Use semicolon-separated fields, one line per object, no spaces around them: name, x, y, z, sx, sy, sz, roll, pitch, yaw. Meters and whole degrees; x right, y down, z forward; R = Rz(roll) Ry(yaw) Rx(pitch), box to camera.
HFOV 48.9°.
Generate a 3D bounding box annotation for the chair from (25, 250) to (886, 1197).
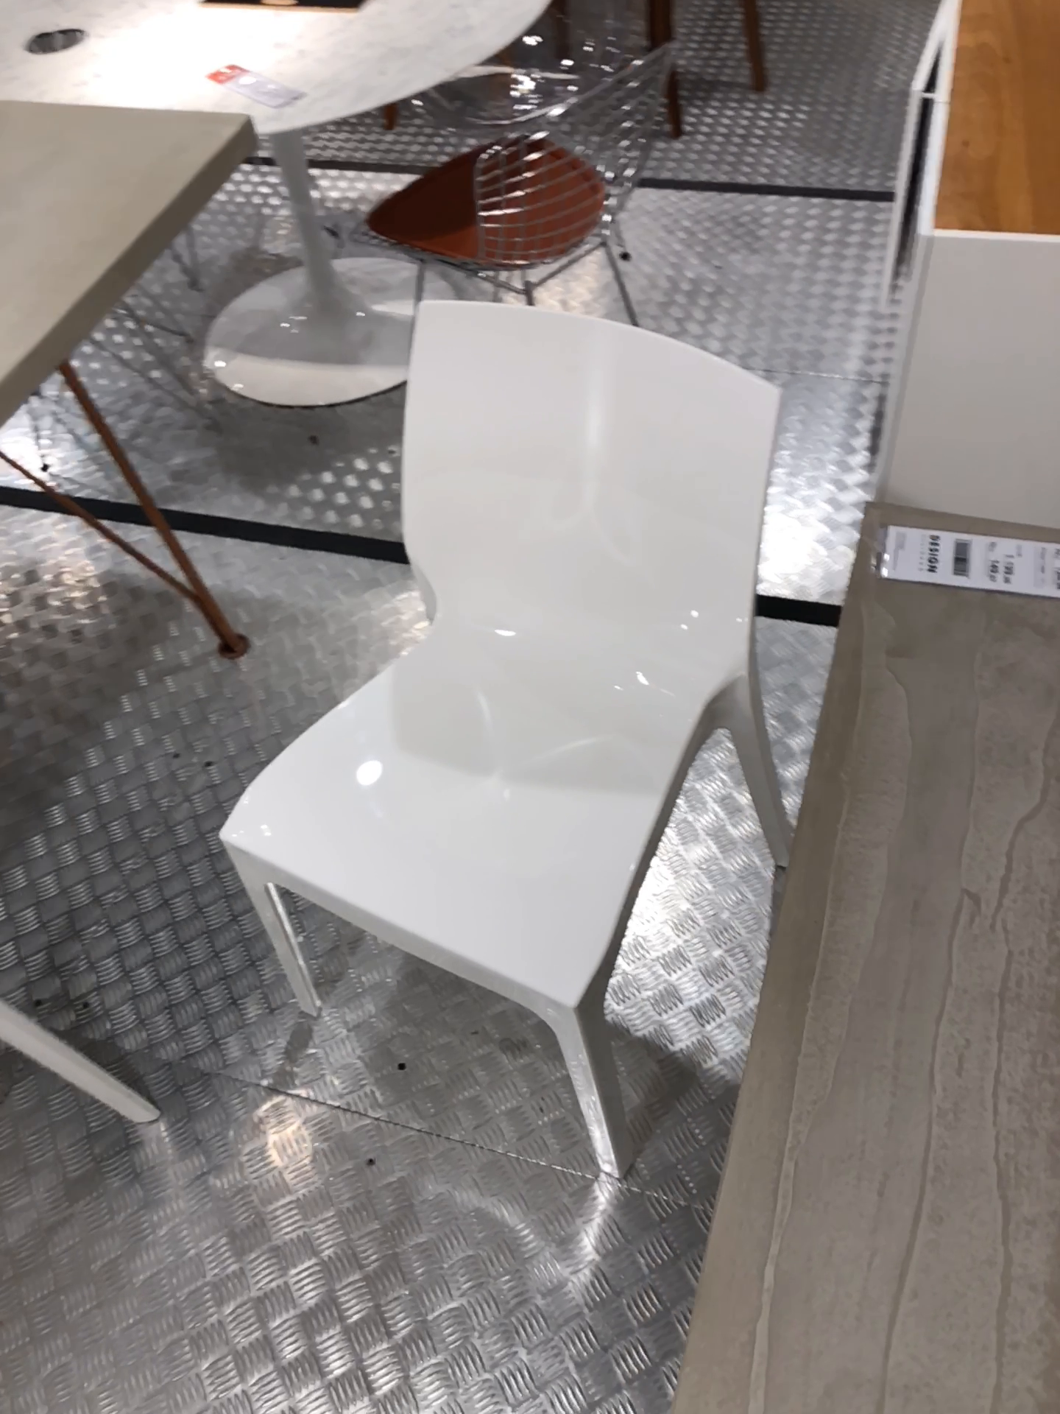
chair;-0.011;0.042;1.274;0.521;0.765;0.542;21;57;22
